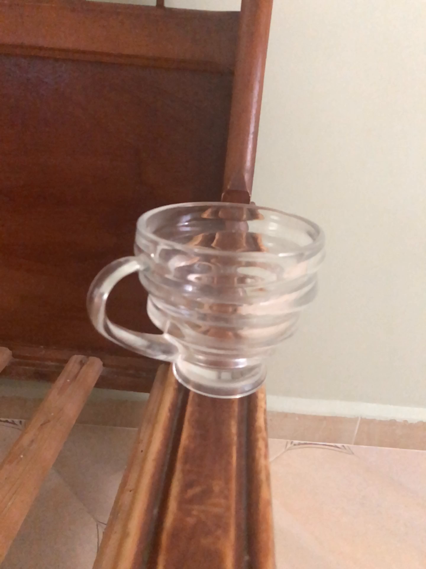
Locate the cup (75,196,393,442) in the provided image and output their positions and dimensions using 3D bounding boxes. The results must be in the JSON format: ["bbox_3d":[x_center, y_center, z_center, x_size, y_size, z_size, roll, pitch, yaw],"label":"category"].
[{"bbox_3d":[0.002,0.004,0.199,0.106,0.065,0.076,-5,24,-22],"label":"cup"}]
